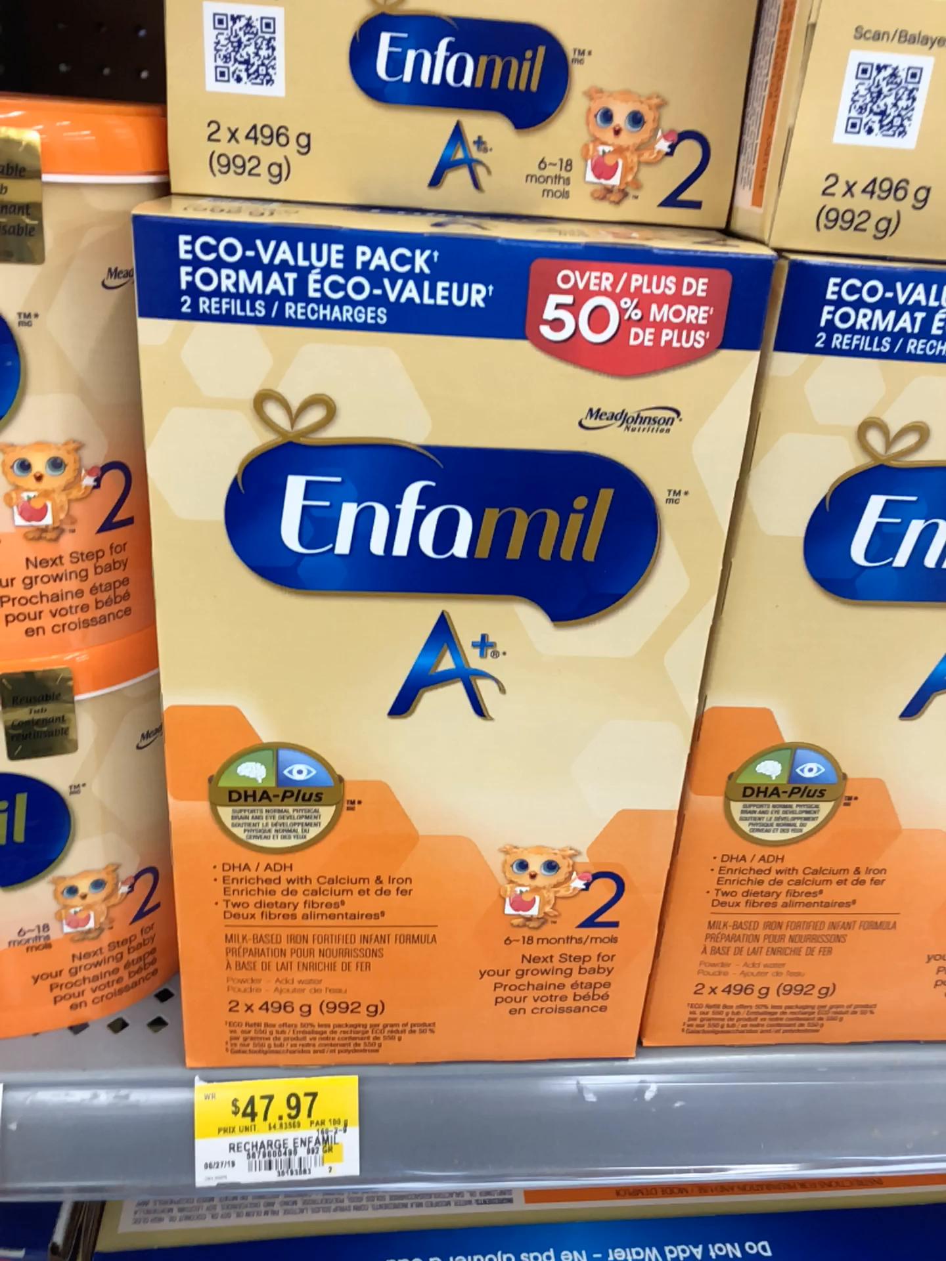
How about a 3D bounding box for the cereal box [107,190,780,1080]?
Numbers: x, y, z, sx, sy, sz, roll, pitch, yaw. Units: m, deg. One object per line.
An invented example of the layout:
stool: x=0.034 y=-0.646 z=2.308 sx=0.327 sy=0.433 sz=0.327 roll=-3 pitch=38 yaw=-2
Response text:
cereal box: x=-0.017 y=0.009 z=0.303 sx=0.140 sy=0.238 sz=0.081 roll=1 pitch=26 yaw=-8
